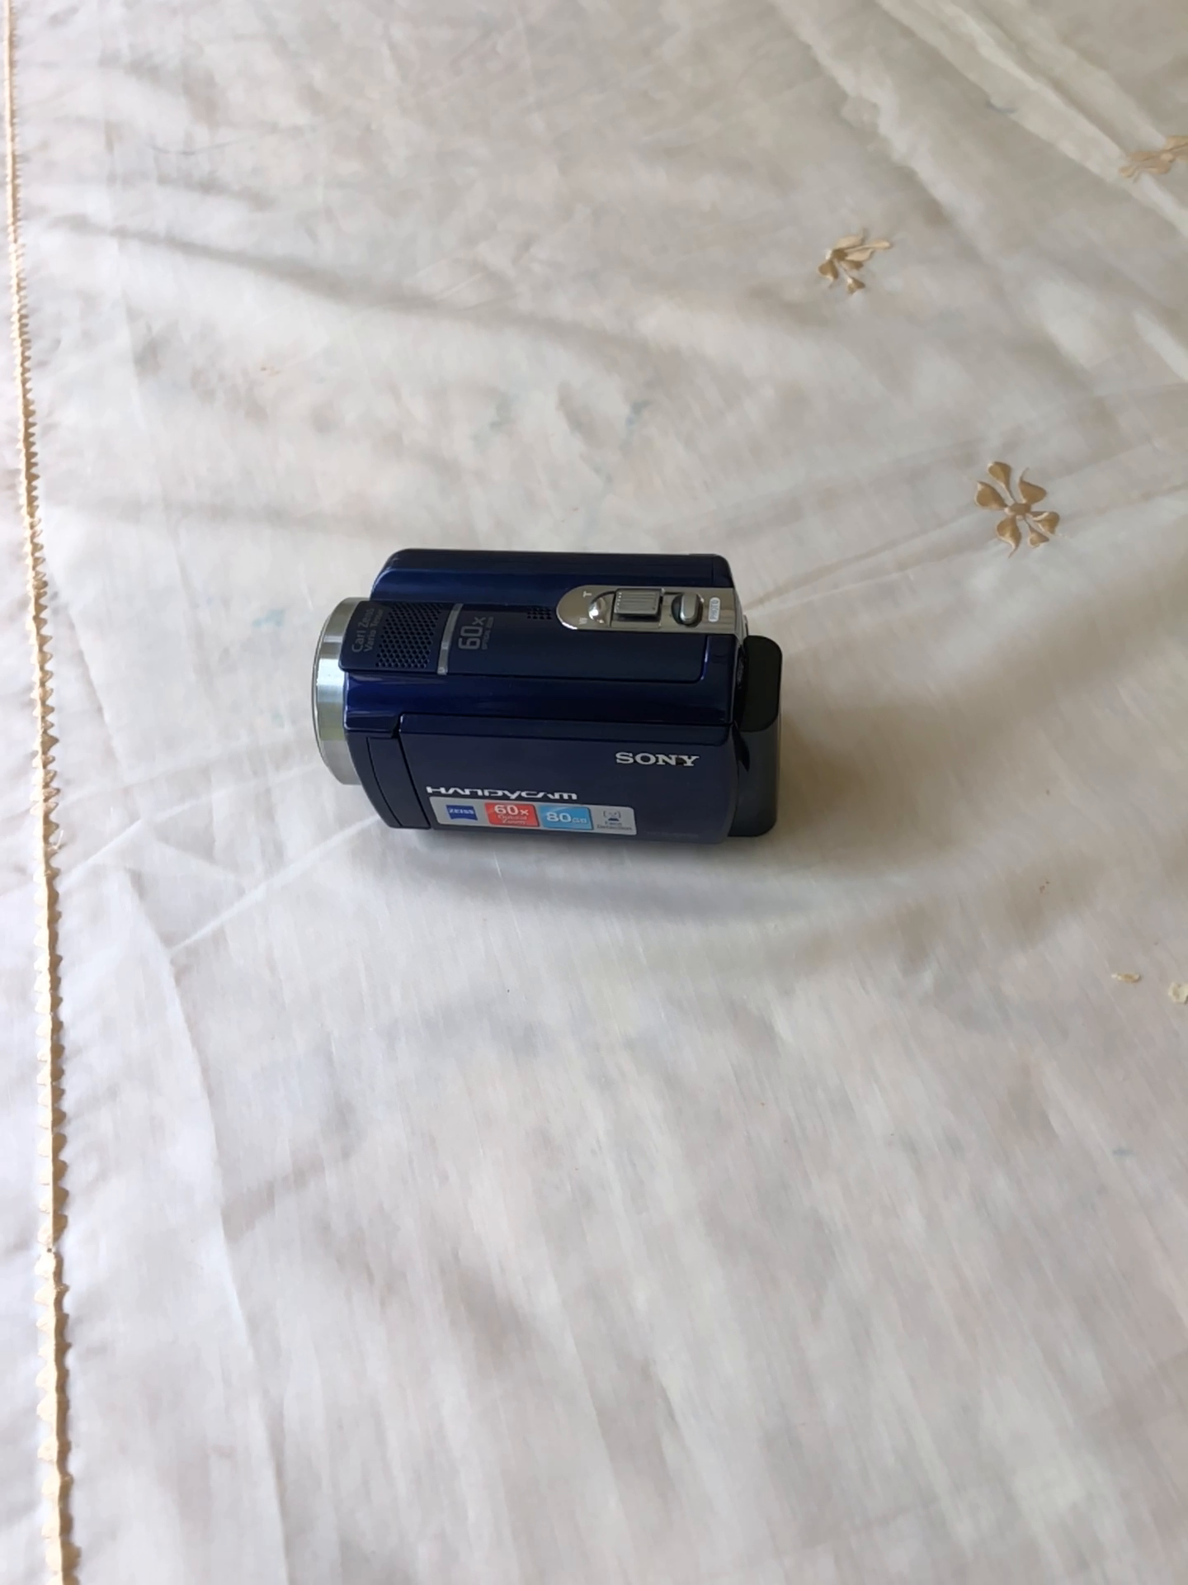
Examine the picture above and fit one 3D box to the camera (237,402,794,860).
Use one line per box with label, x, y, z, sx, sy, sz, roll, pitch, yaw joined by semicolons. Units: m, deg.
camera;-0.011;-0.043;0.339;0.119;0.070;0.090;3;53;10
